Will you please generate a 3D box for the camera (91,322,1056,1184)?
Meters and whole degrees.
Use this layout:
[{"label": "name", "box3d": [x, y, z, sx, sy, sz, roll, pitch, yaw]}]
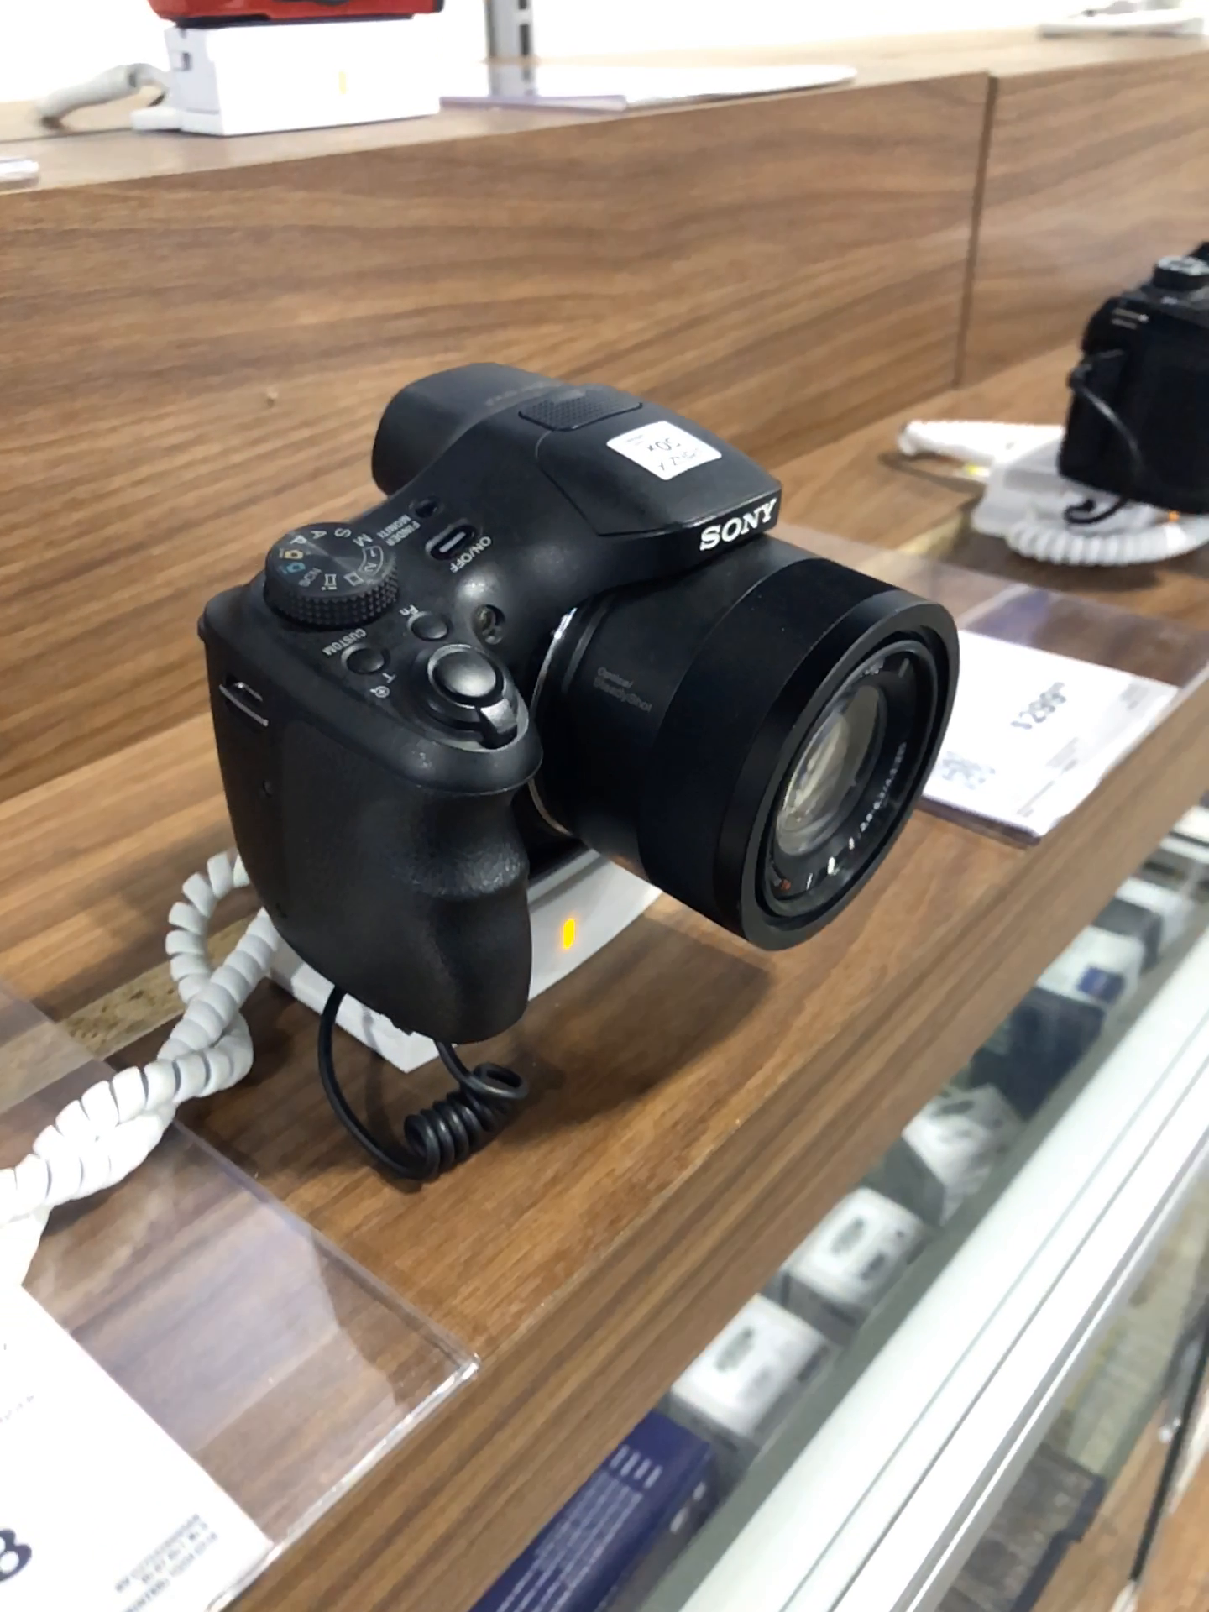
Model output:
[{"label": "camera", "box3d": [-0.004, -0.026, 0.270, 0.121, 0.089, 0.130, 29, 42, 30]}]
